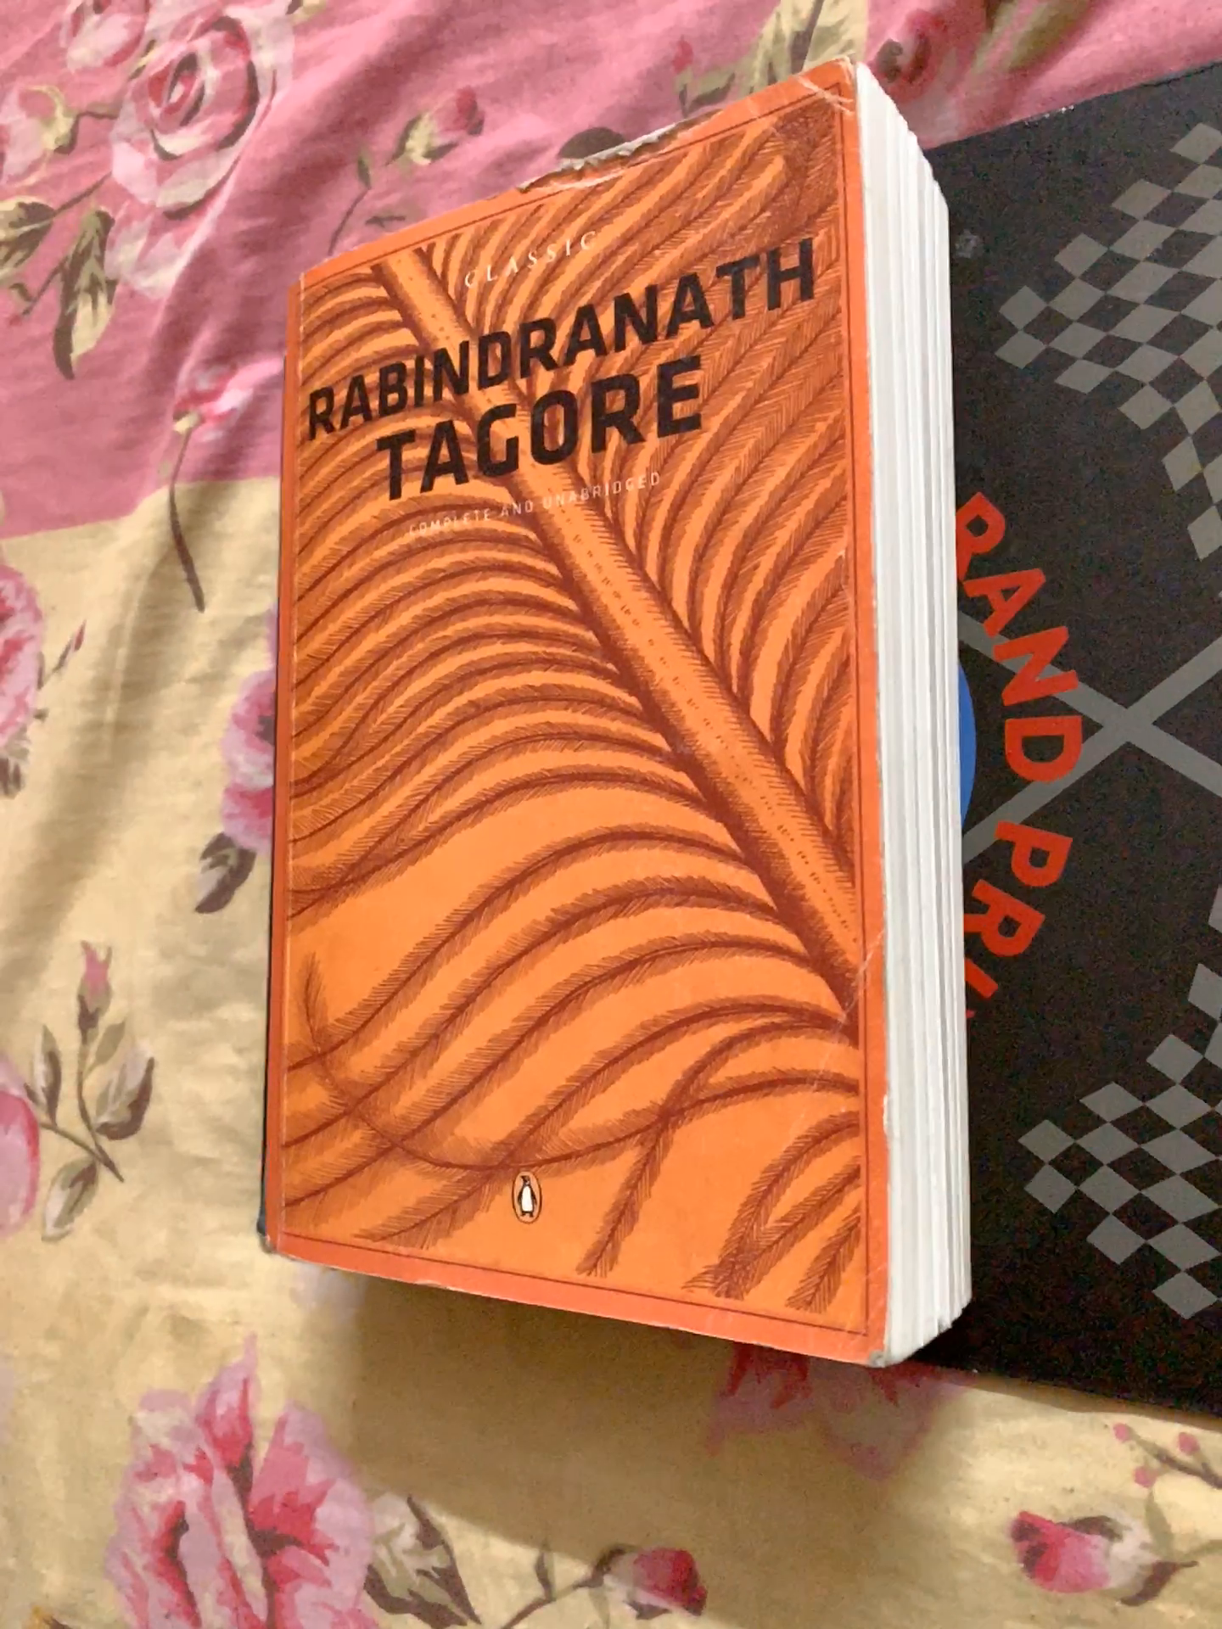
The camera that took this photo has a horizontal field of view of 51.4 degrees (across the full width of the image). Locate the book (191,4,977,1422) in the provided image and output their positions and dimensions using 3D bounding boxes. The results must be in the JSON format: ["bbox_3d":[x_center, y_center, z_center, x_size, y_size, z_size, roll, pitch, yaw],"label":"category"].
[{"bbox_3d":[-0.005,-0.016,0.243,0.130,0.060,0.210,-3,81,30],"label":"book"}]
